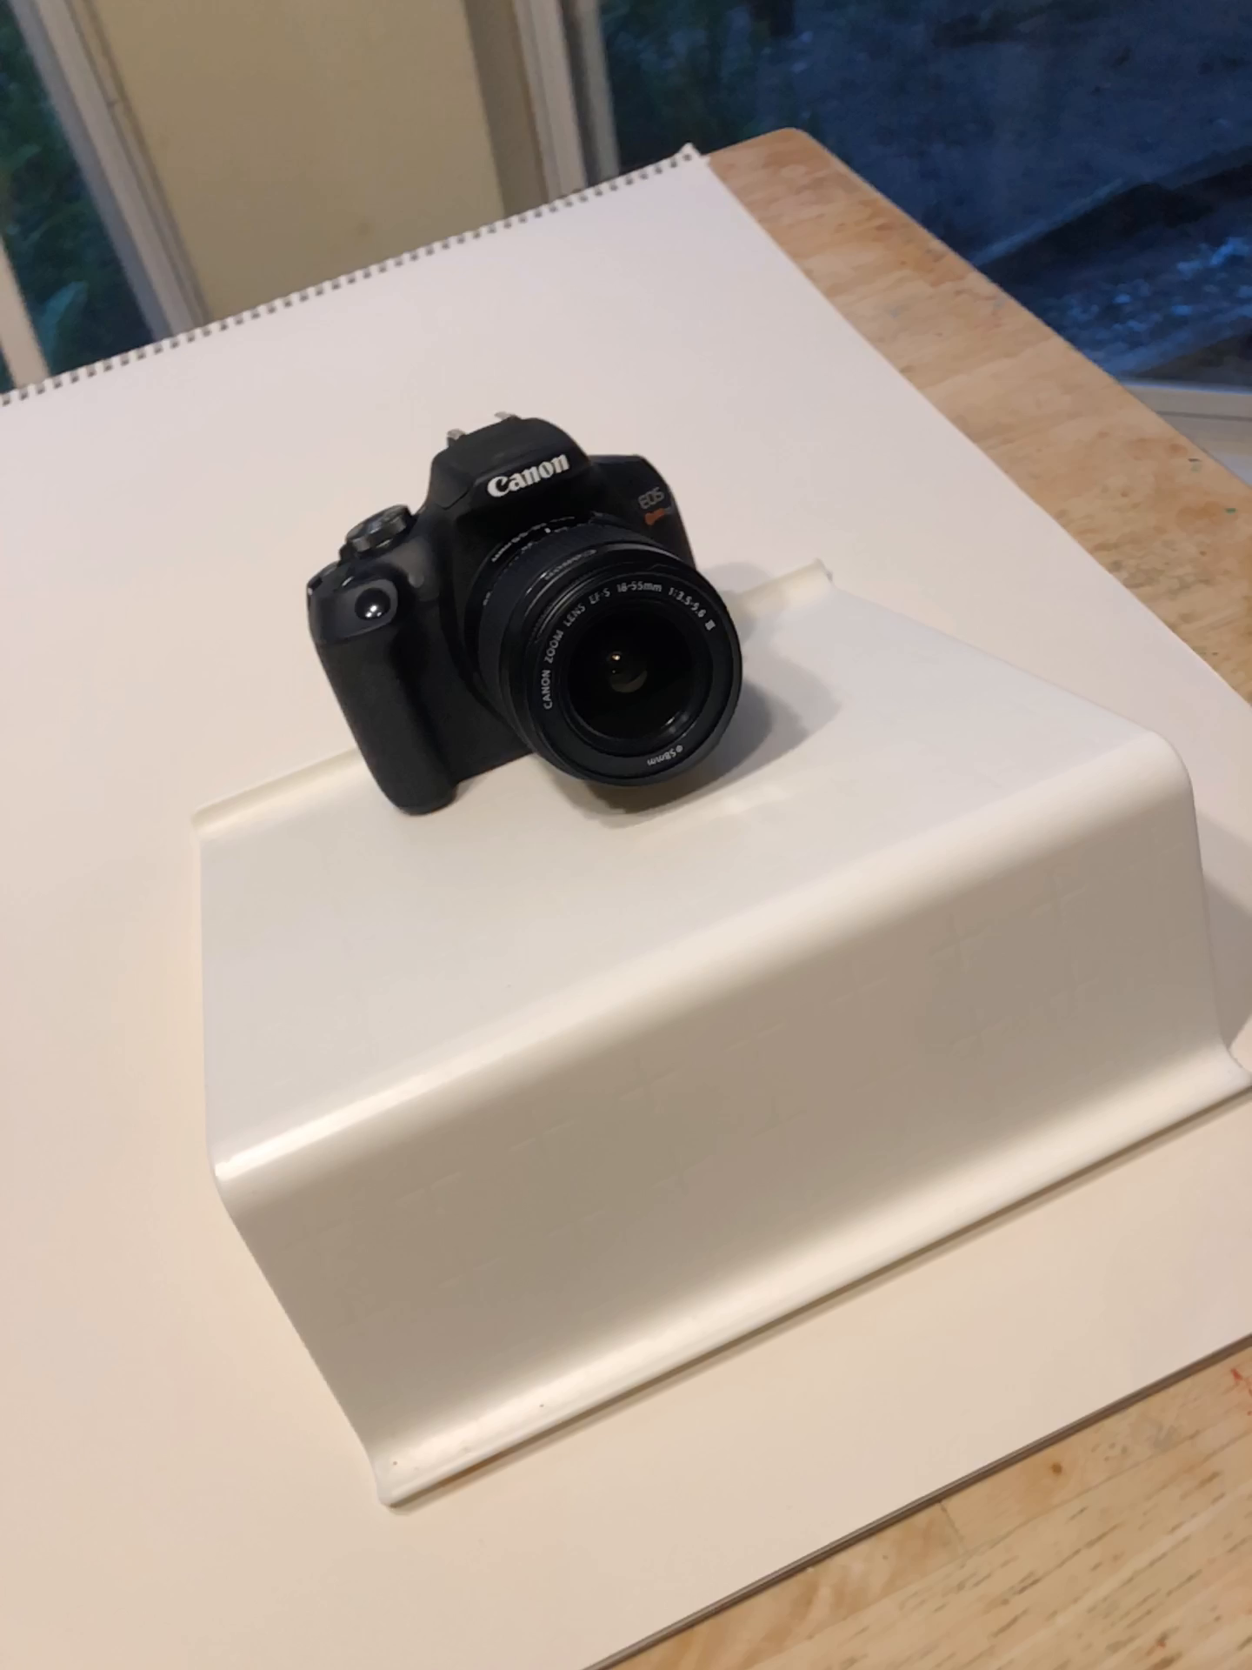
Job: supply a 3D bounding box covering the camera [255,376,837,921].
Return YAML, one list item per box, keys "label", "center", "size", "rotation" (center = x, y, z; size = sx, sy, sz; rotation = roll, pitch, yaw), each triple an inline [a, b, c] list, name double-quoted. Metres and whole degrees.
- label: "camera"
  center: [-0.032, -0.068, 0.427]
  size: [0.125, 0.104, 0.141]
  rotation: [-22, 24, -9]
